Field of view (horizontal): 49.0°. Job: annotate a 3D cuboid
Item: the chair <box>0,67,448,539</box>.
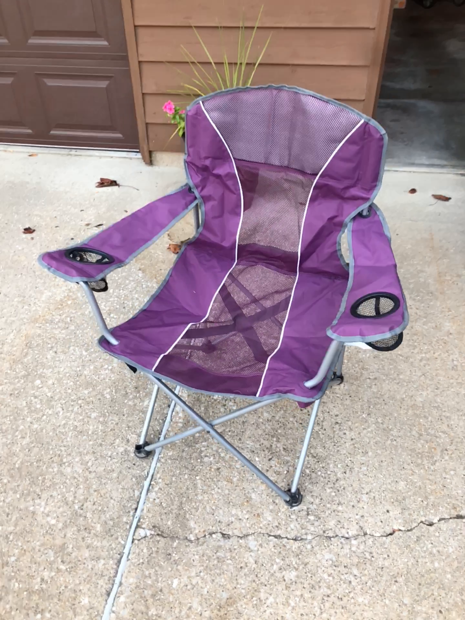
[{"bbox_3d":[0.052,-0.066,1.360,0.760,0.878,0.711,12,40,17],"label":"chair"}]
